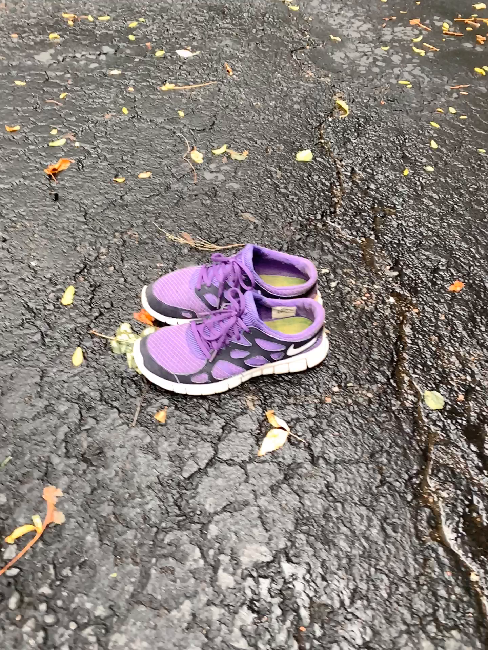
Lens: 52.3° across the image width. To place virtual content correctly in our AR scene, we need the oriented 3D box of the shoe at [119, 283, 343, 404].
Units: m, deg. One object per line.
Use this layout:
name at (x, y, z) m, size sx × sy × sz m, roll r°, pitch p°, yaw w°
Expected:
shoe at (-0.019, 0.028, 0.734) m, size 0.300 × 0.100 × 0.110 m, roll -6°, pitch 55°, yaw 0°

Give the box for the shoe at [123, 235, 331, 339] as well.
shoe at (-0.028, -0.060, 0.785) m, size 0.300 × 0.090 × 0.110 m, roll -4°, pitch 55°, yaw -2°
